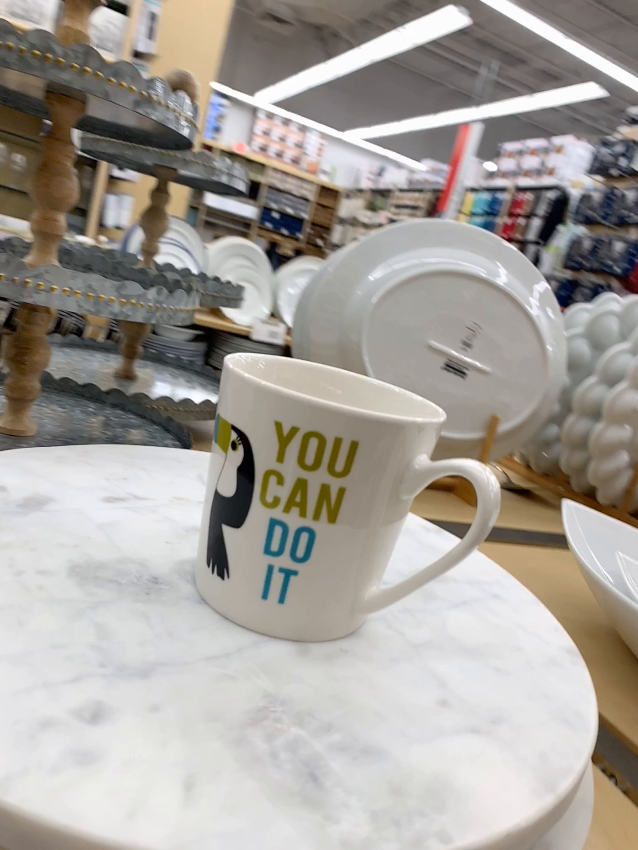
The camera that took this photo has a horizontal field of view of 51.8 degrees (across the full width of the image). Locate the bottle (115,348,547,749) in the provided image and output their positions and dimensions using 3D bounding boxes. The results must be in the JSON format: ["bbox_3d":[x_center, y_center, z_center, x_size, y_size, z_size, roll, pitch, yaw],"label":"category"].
[{"bbox_3d":[0.007,0.038,0.300,0.143,0.107,0.104,21,13,25],"label":"bottle"}]
